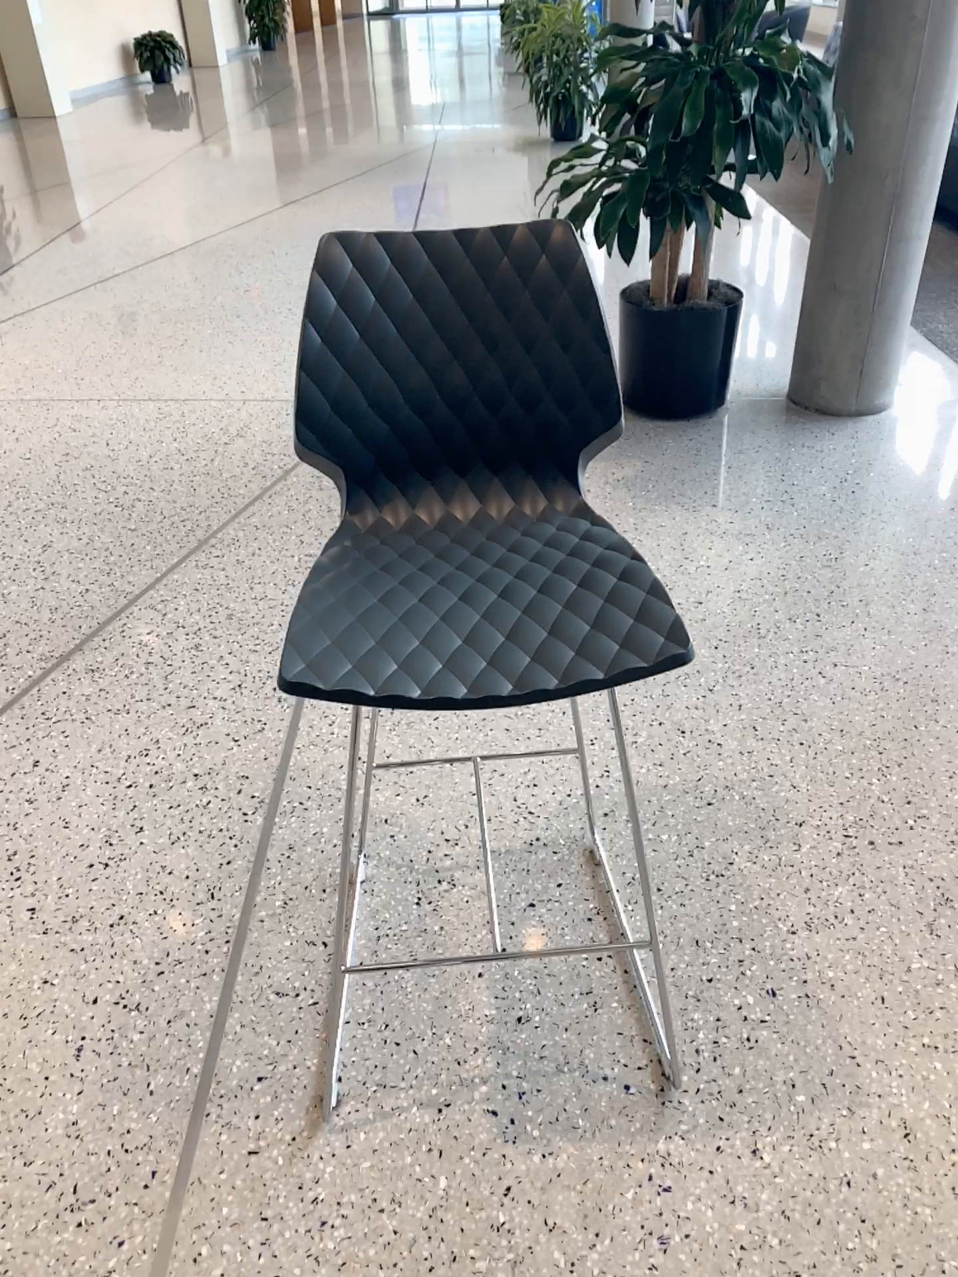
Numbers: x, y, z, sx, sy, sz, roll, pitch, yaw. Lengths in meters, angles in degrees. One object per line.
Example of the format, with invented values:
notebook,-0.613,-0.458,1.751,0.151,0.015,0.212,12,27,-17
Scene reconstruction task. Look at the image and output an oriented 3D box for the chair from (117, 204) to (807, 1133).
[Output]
chair,-0.005,0.065,1.270,0.531,1.048,0.551,-3,34,-1
